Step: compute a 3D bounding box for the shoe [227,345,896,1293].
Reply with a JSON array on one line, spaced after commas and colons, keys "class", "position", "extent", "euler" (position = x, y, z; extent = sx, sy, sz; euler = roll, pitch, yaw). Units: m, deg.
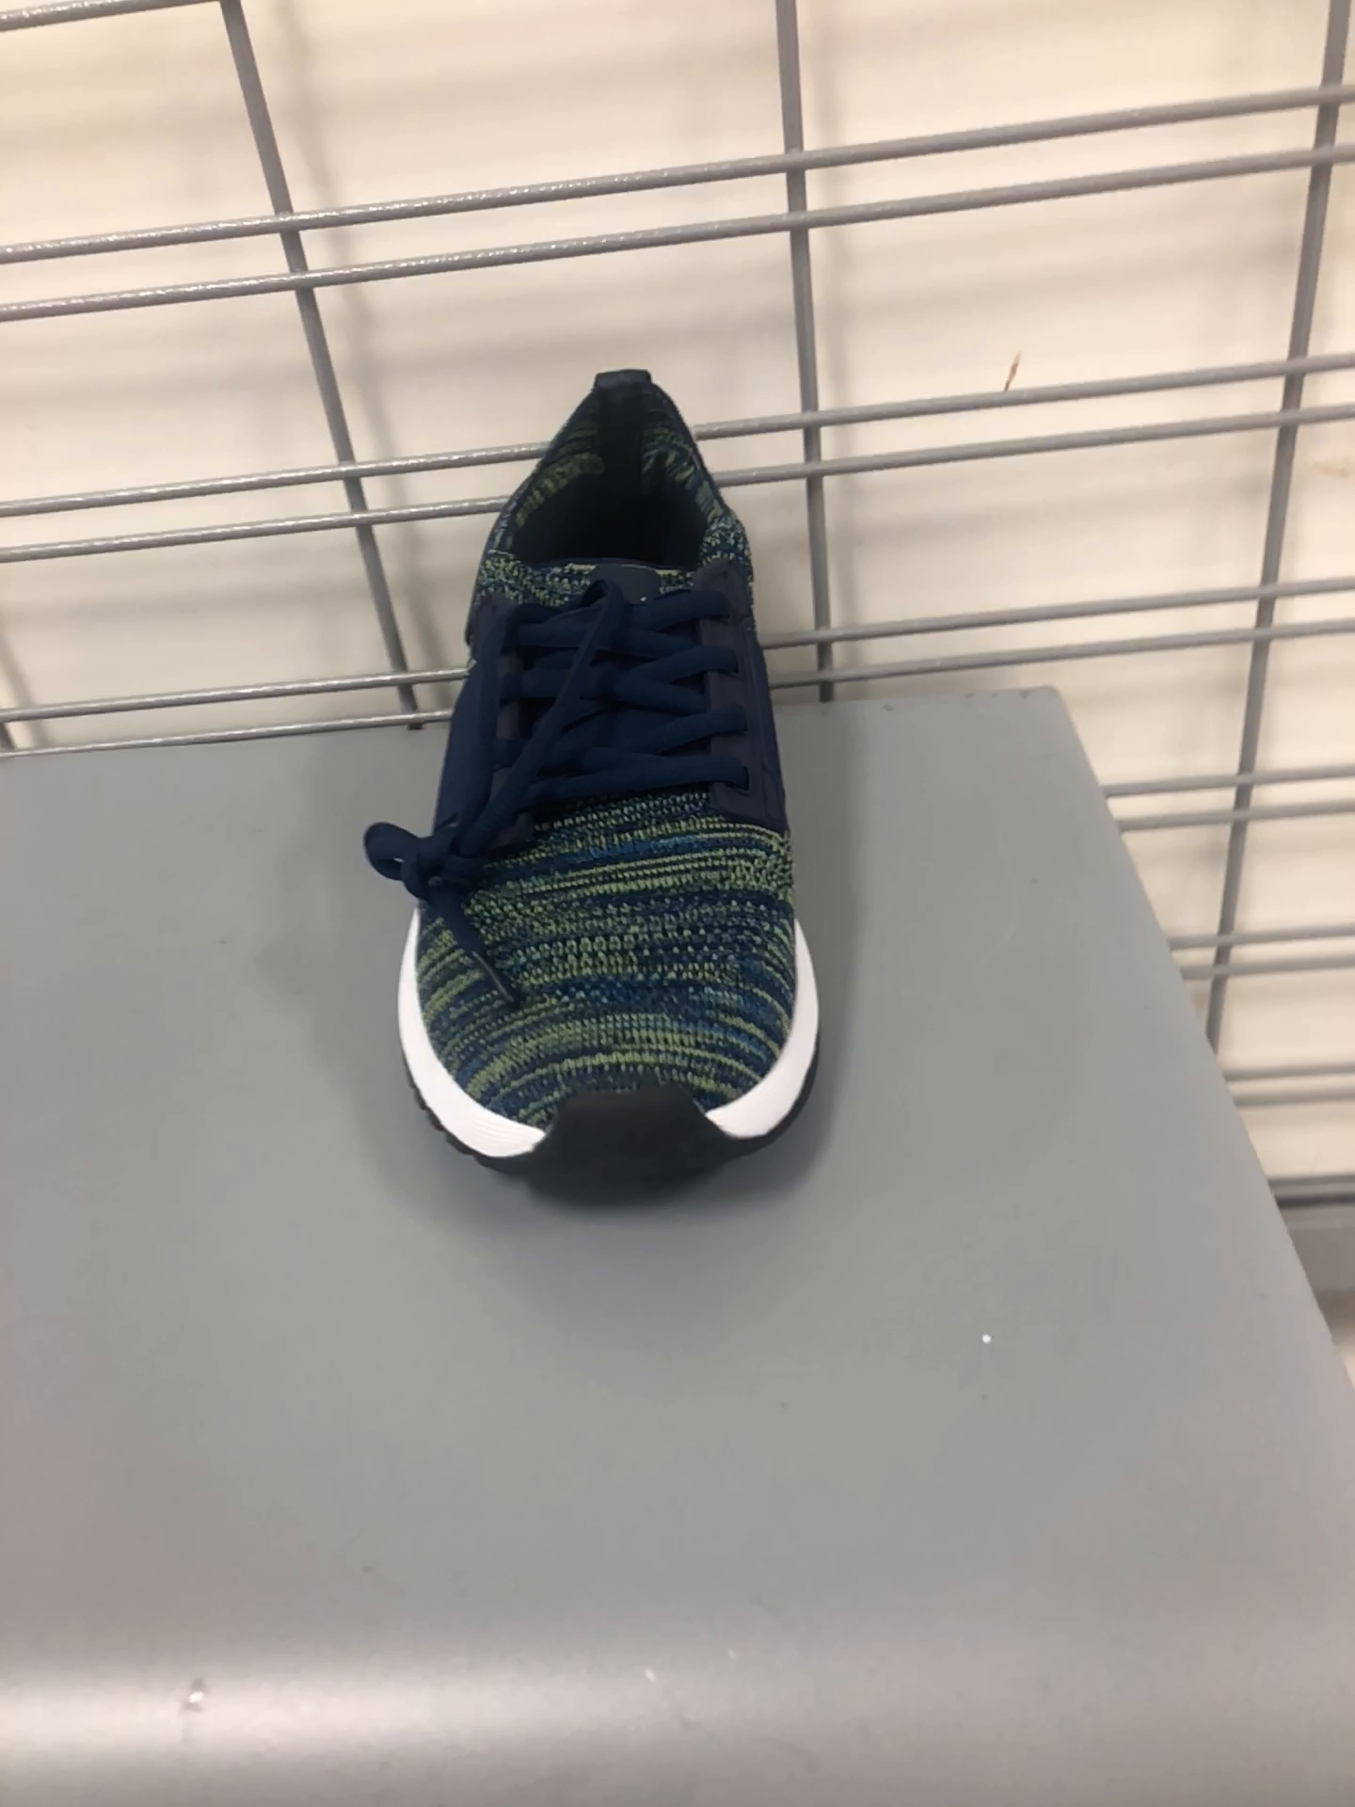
[{"class": "shoe", "position": [-0.019, -0.047, 0.393], "extent": [0.113, 0.105, 0.277], "euler": [-4, 37, 1]}]
